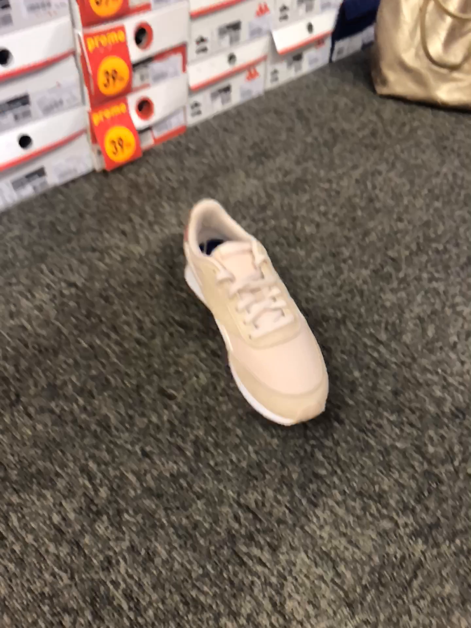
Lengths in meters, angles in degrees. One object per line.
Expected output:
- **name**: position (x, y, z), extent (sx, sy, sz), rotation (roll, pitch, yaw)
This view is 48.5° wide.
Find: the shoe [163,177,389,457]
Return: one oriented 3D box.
- **shoe**: position (0.023, -0.012, 0.541), extent (0.100, 0.109, 0.270), rotation (-18, 52, -19)
